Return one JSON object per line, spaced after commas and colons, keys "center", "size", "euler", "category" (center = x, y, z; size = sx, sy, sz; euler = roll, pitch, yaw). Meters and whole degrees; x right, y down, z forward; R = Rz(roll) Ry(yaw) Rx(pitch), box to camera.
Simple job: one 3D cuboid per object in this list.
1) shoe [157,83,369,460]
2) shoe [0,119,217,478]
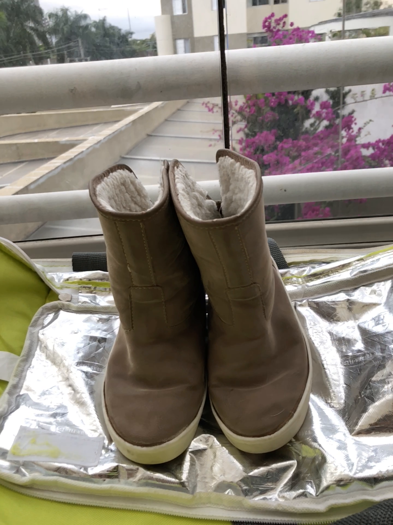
{"center": [0.034, 0.007, 0.312], "size": [0.089, 0.169, 0.202], "euler": [-7, 50, 4], "category": "shoe"}
{"center": [-0.042, 0.029, 0.316], "size": [0.089, 0.169, 0.192], "euler": [-6, 50, 6], "category": "shoe"}
